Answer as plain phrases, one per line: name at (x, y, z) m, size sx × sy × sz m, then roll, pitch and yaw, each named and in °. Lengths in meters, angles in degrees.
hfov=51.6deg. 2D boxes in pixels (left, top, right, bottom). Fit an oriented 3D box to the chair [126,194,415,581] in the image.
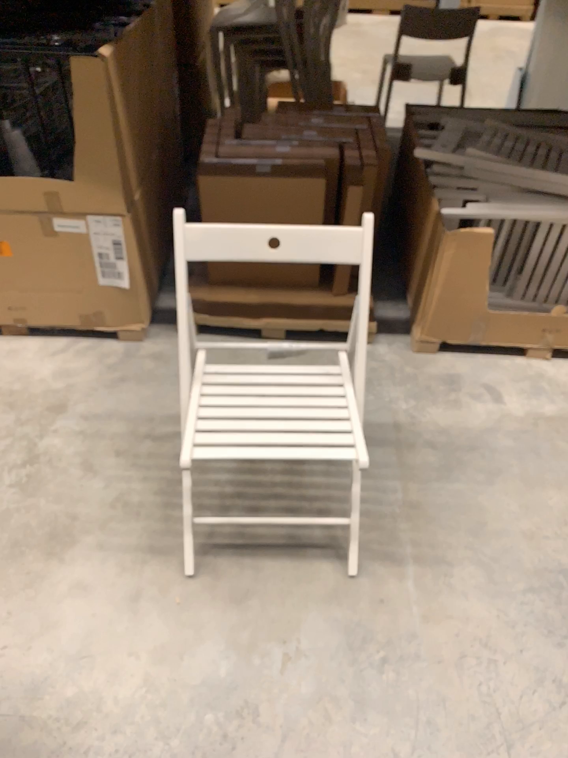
chair at (-0.029, 0.039, 1.287) m, size 0.430 × 0.707 × 0.472 m, roll 1°, pitch 42°, yaw -1°
